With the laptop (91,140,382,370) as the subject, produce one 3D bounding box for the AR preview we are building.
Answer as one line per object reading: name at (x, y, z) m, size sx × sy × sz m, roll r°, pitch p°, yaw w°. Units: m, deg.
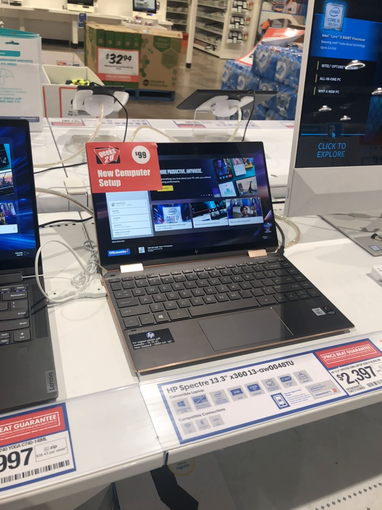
laptop at (0.037, -0.036, 0.589) m, size 0.298 × 0.147 × 0.315 m, roll -6°, pitch 34°, yaw -20°
